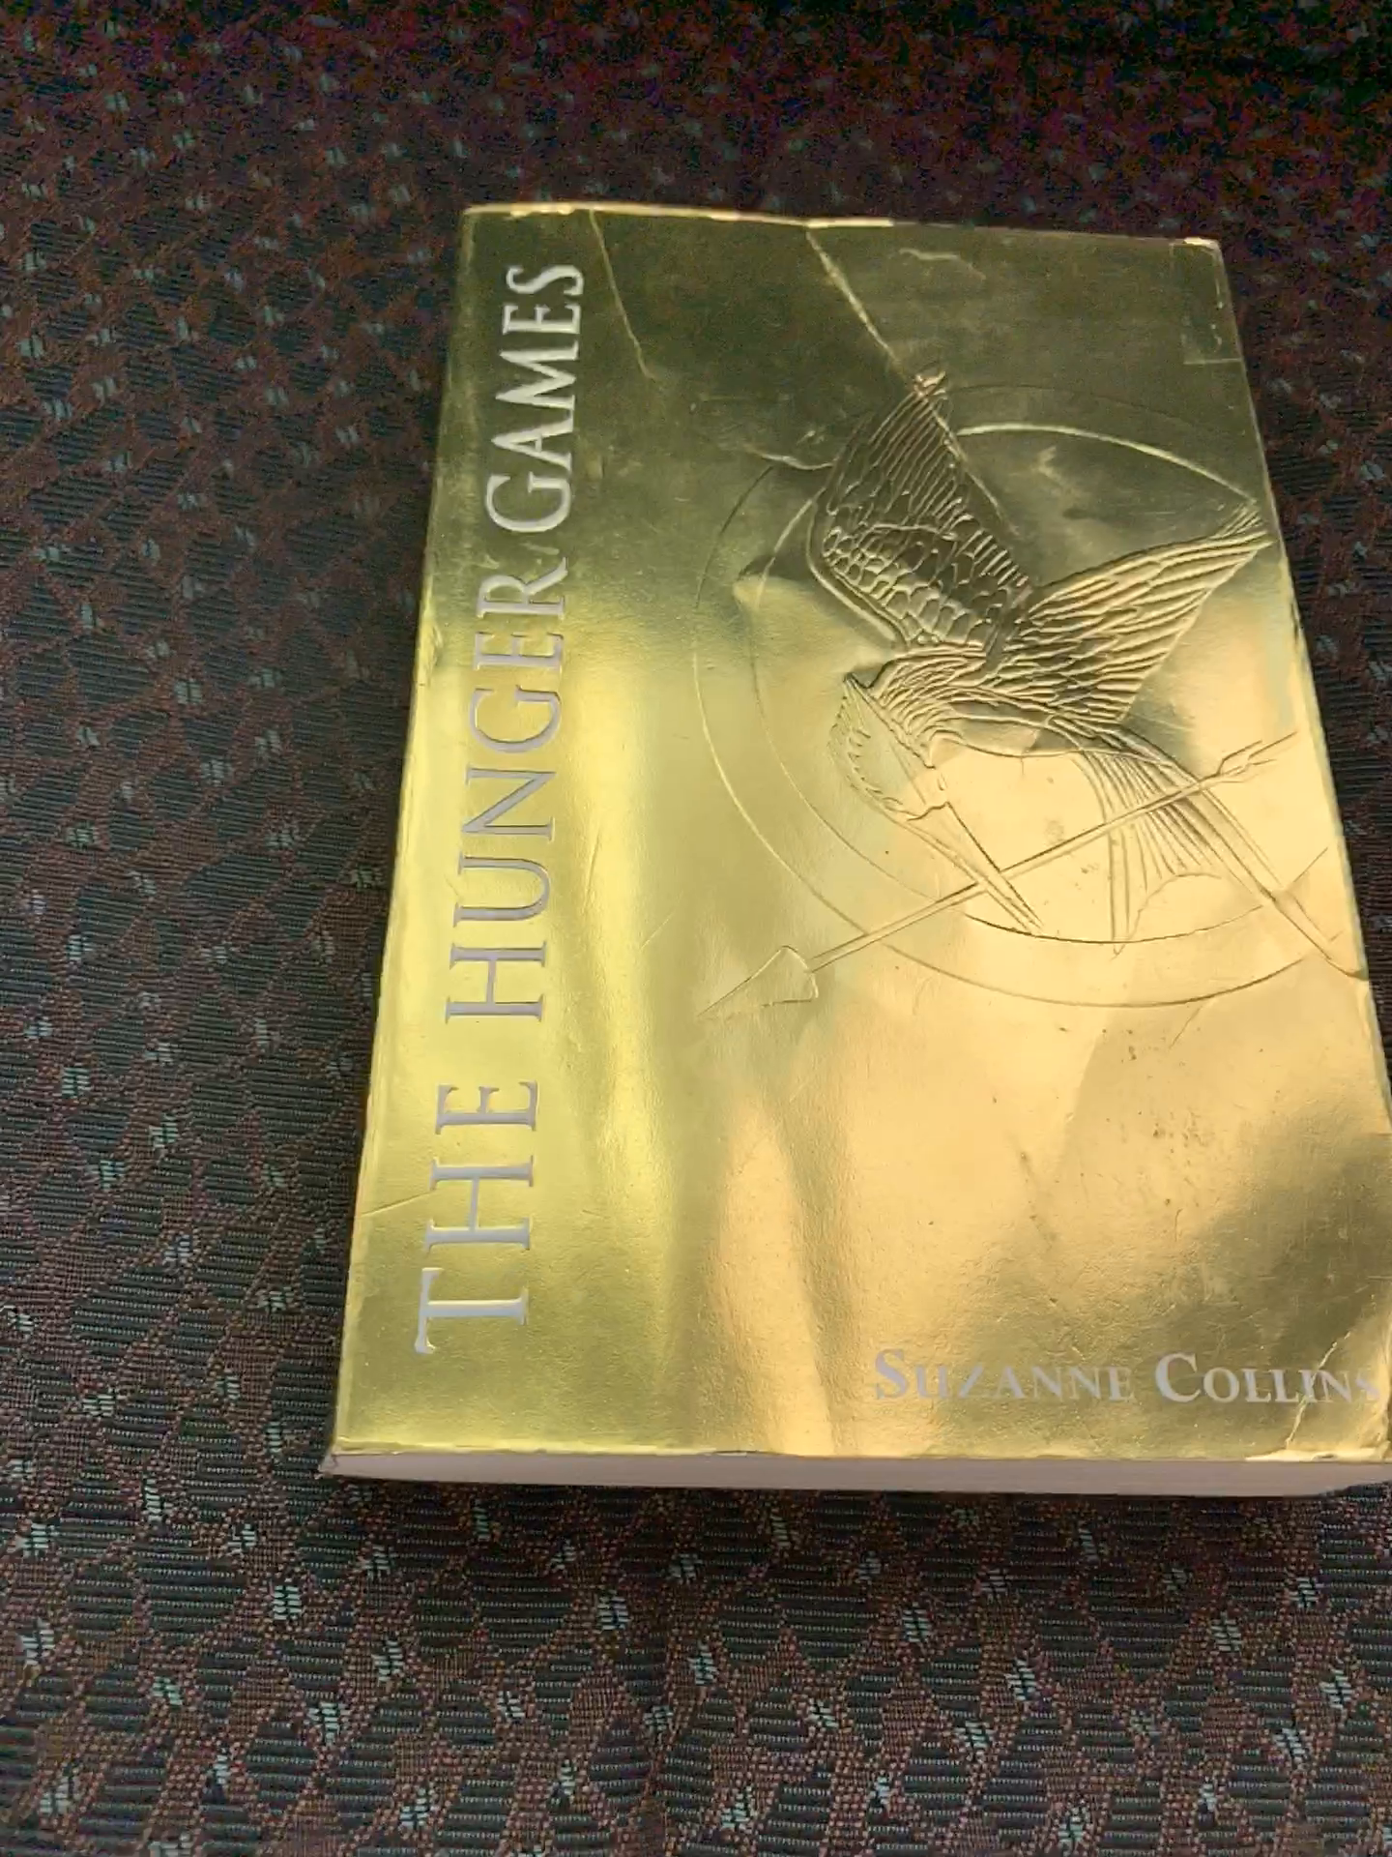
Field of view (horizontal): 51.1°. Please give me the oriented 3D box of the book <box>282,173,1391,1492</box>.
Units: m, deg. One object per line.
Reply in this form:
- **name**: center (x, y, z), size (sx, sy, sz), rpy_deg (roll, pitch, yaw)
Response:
- **book**: center (0.025, -0.024, 0.221), size (0.142, 0.037, 0.201), rpy_deg (2, 64, -5)
